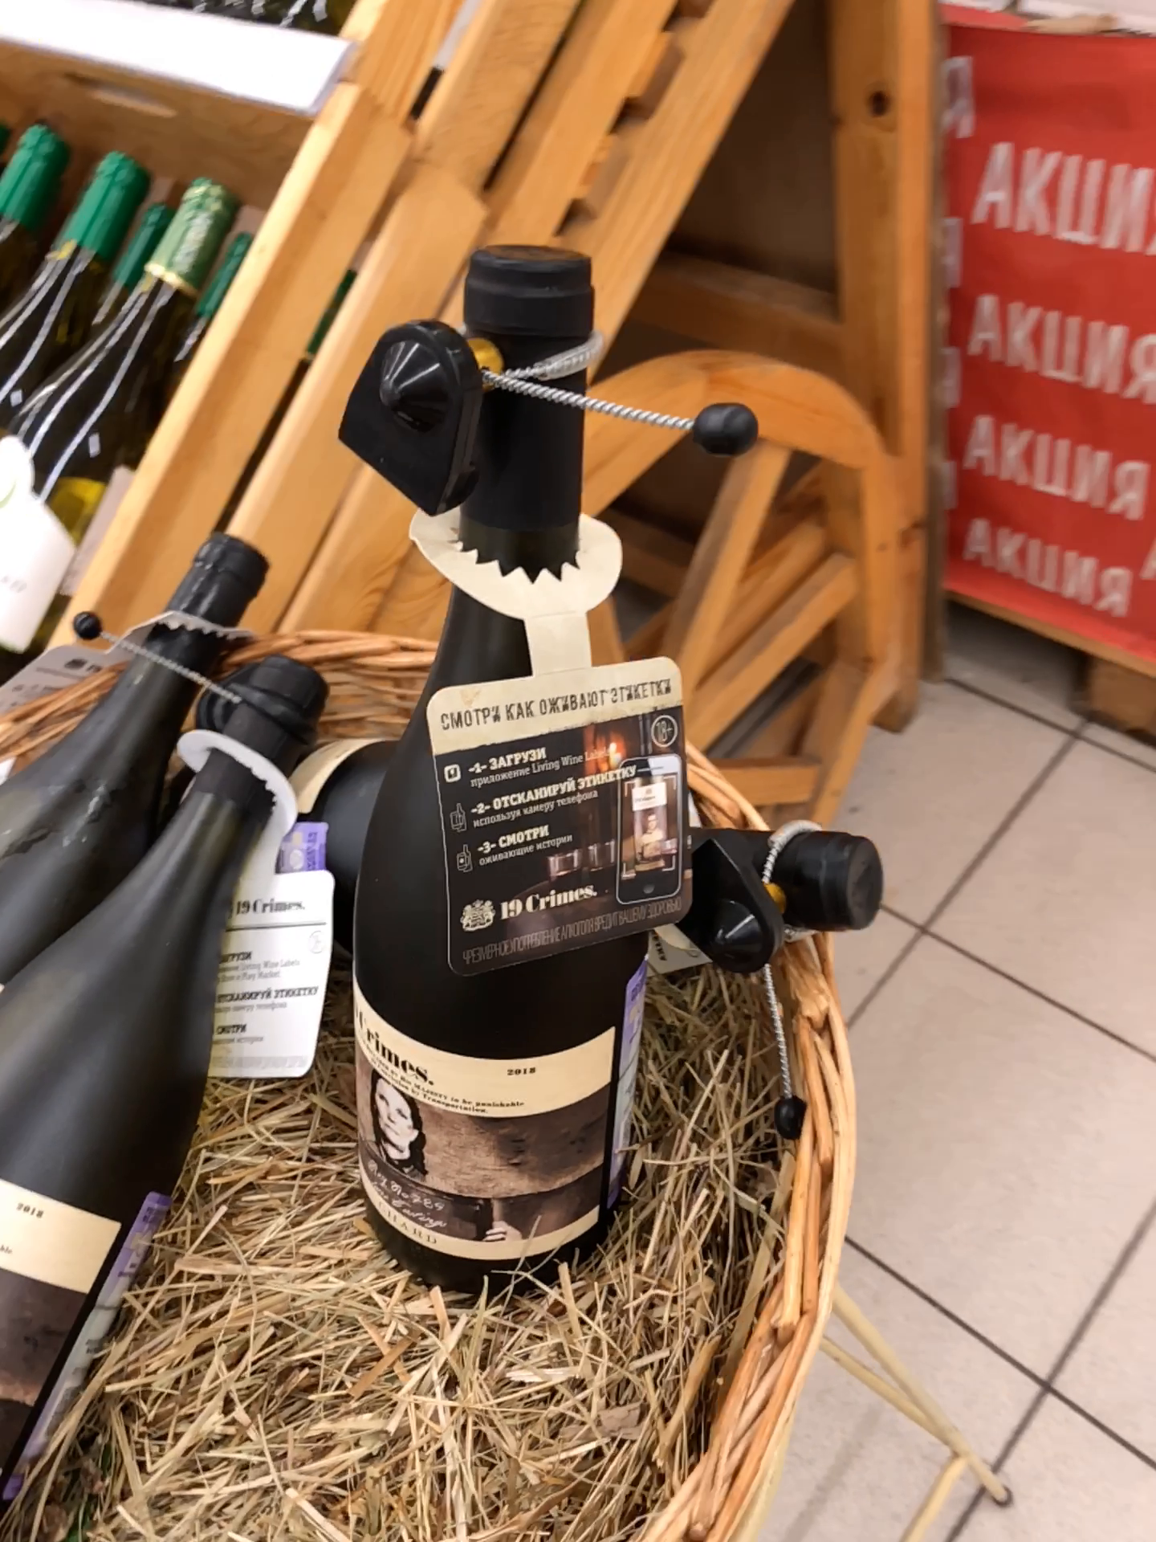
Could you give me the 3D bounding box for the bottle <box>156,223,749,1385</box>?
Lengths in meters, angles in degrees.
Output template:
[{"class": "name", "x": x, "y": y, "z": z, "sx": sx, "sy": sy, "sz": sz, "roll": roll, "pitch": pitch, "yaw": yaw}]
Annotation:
[{"class": "bottle", "x": -0.027, "y": 0.021, "z": 0.338, "sx": 0.090, "sy": 0.289, "sz": 0.080, "roll": 23, "pitch": 39, "yaw": 31}]
